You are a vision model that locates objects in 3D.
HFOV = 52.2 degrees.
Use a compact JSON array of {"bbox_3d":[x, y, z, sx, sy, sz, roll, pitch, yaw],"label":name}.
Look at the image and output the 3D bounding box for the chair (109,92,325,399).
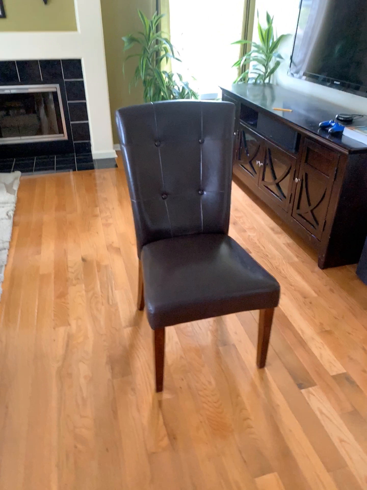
[{"bbox_3d":[0.045,-0.041,1.558,0.538,0.976,0.727,-8,33,-13],"label":"chair"}]
